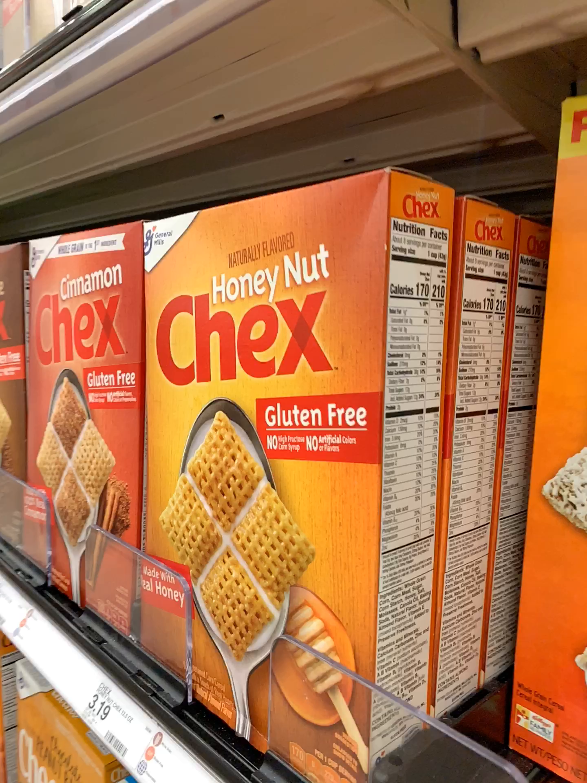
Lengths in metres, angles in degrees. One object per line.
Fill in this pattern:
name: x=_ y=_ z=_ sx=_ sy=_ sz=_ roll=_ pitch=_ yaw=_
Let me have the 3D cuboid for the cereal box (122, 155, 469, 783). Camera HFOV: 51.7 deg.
cereal box: x=-0.016 y=0.036 z=0.338 sx=0.060 sy=0.280 sz=0.200 roll=-6 pitch=10 yaw=-45
